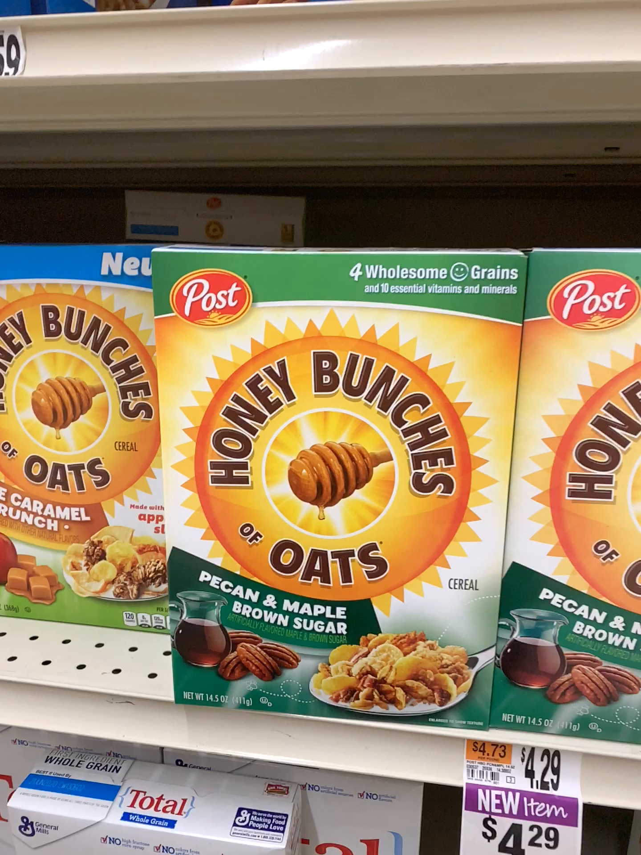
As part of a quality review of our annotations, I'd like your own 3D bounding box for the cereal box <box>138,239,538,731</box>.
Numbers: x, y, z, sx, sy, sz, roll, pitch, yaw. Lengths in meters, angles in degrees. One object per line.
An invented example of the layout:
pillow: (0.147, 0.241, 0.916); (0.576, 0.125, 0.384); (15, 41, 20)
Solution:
cereal box: (0.007, 0.034, 0.393); (0.200, 0.279, 0.060); (2, 15, 5)
